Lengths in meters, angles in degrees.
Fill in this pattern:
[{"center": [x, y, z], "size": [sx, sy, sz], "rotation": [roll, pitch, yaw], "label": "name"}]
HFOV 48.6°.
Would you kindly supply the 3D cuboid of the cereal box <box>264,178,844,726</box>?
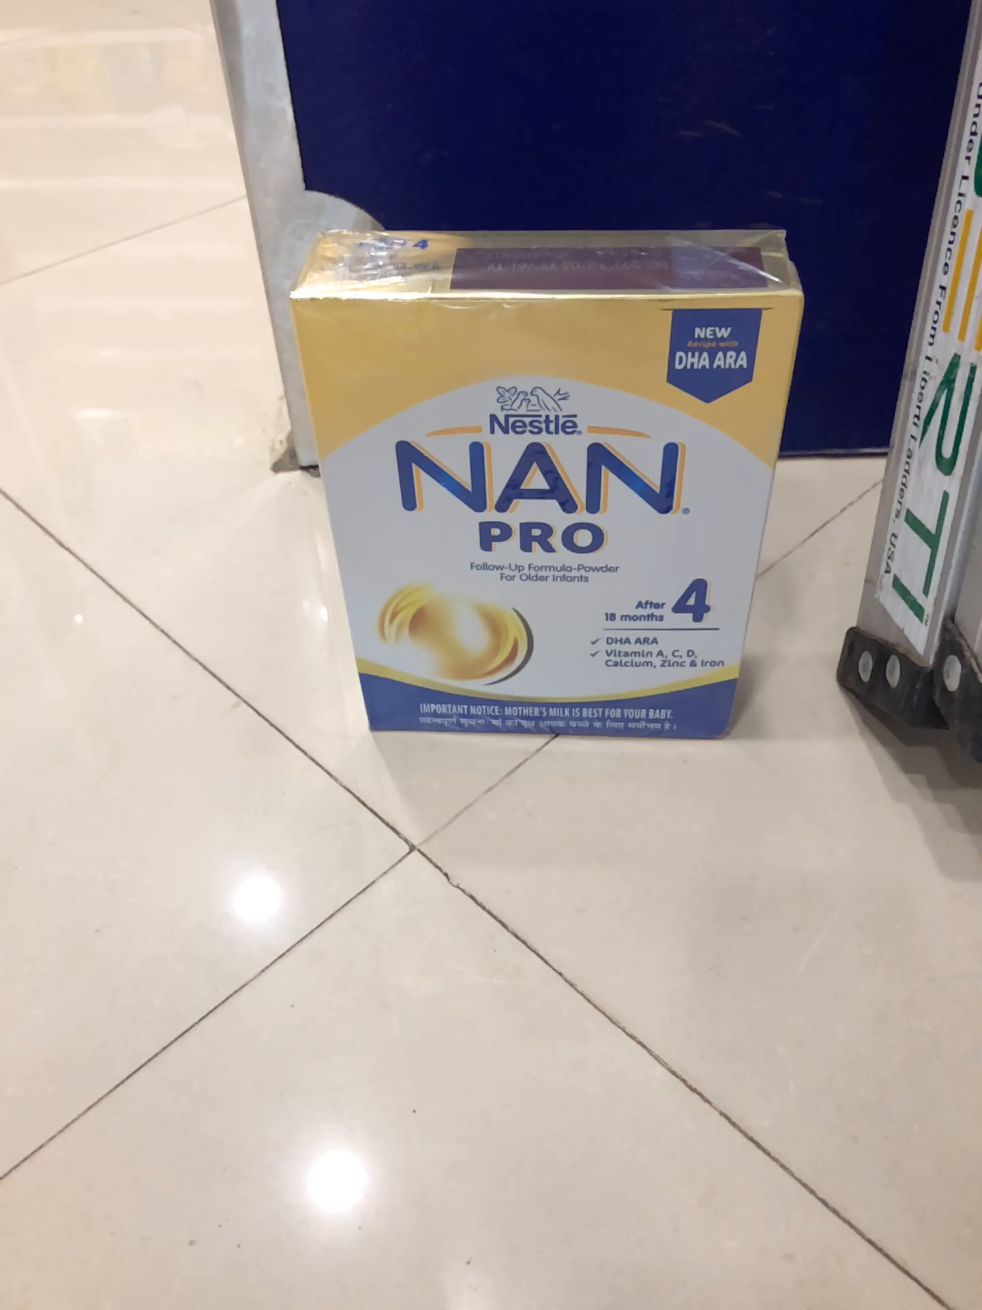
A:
[{"center": [0.022, -0.063, 0.410], "size": [0.170, 0.209, 0.050], "rotation": [1, 45, 3], "label": "cereal box"}]
